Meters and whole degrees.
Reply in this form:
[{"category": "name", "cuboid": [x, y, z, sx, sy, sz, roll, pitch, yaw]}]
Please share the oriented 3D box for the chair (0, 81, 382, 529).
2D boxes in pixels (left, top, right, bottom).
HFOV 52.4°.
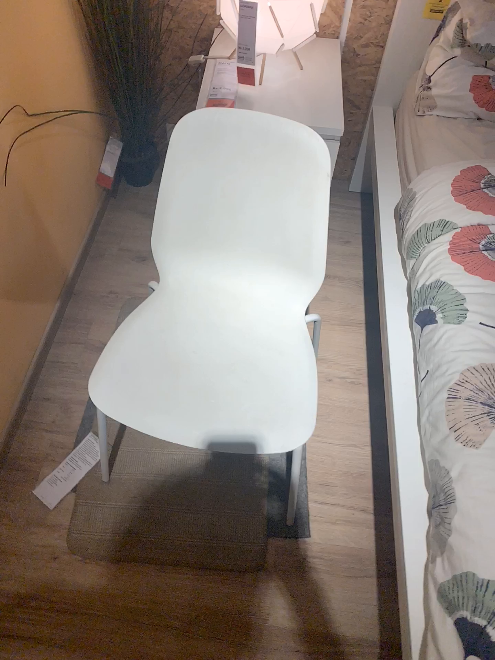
[{"category": "chair", "cuboid": [-0.084, 0.002, 1.118, 0.540, 0.758, 0.561, 11, 55, 4]}]
